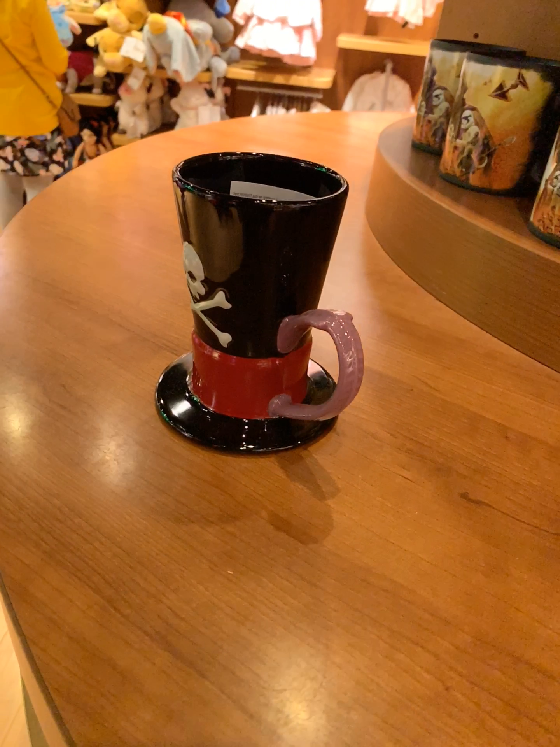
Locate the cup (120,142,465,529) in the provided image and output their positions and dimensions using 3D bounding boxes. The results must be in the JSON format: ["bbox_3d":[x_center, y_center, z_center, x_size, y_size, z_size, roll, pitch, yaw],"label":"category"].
[{"bbox_3d":[-0.006,-0.032,0.314,0.110,0.144,0.135,-15,39,-28],"label":"cup"}]
